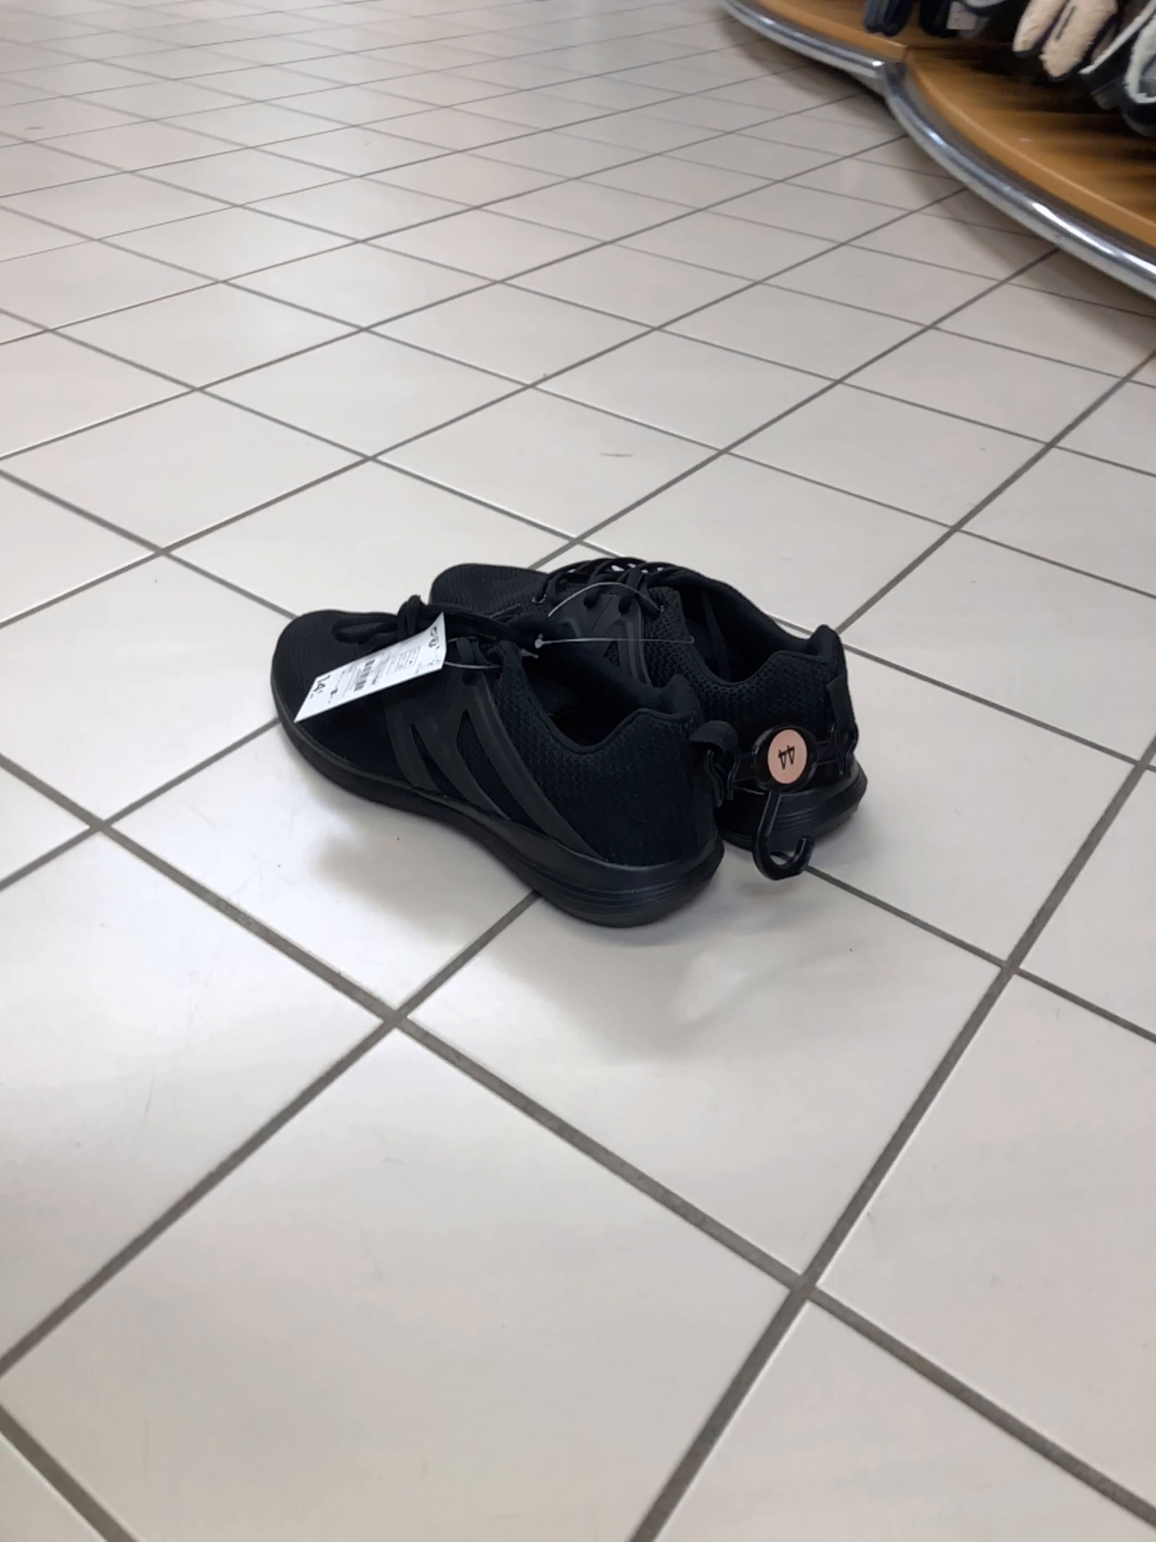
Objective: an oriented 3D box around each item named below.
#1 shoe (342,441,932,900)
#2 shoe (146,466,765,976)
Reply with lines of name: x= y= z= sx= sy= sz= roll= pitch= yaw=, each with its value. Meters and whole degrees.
shoe: x=0.018 y=-0.068 z=0.692 sx=0.310 sy=0.109 sz=0.101 roll=28 pitch=44 yaw=29
shoe: x=-0.071 y=-0.040 z=0.636 sx=0.310 sy=0.109 sz=0.101 roll=28 pitch=44 yaw=29
